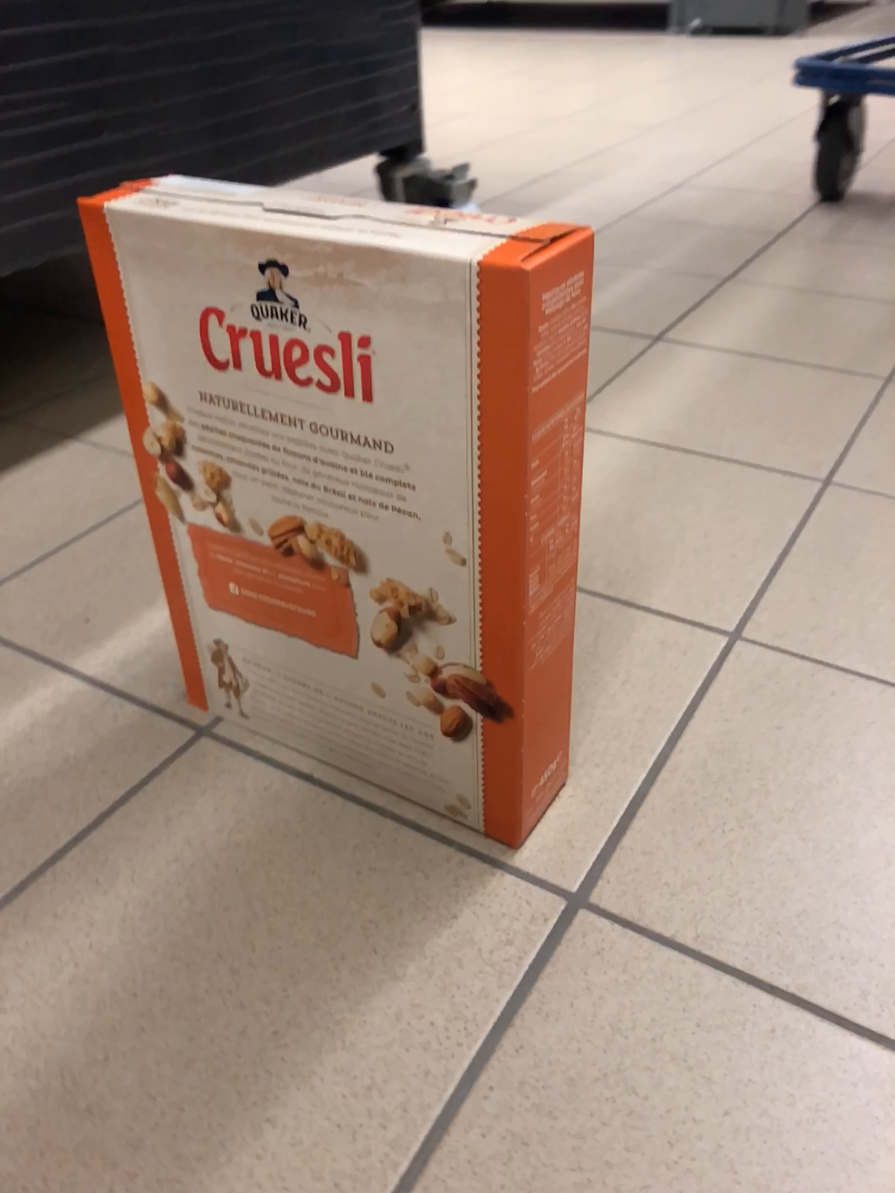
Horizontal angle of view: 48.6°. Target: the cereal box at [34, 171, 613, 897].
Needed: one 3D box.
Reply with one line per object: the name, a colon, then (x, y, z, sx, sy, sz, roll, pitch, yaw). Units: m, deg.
cereal box: (-0.045, -0.025, 0.399, 0.200, 0.249, 0.060, 18, 38, 28)
